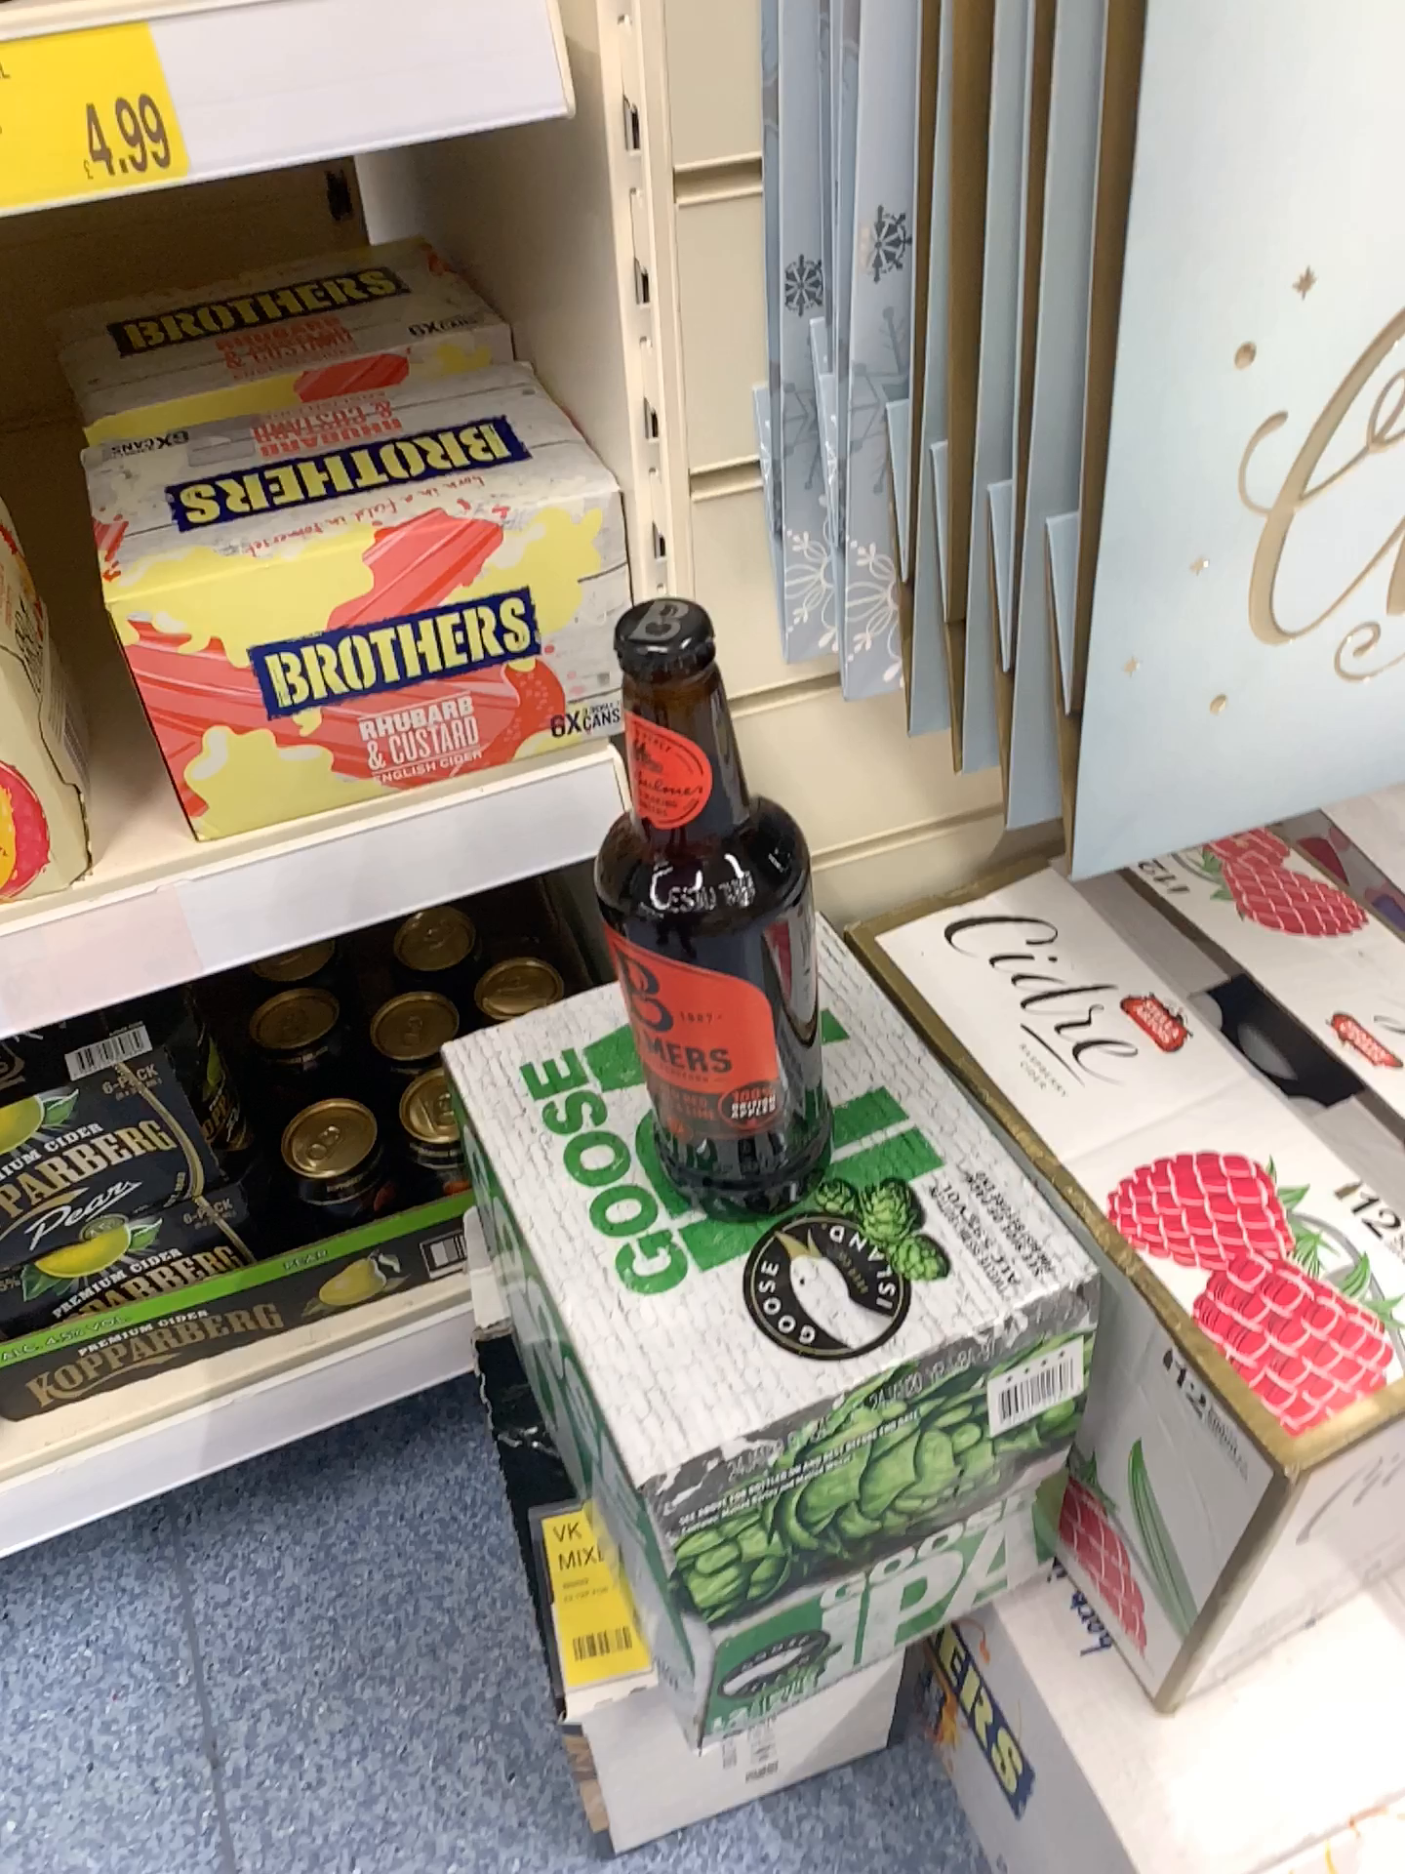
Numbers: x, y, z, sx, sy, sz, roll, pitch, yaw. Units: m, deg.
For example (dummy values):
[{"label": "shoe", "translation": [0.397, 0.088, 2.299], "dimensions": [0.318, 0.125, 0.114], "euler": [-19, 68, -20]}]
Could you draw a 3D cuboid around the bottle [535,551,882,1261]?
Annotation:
[{"label": "bottle", "translation": [0.011, 0.000, 0.484], "dimensions": [0.070, 0.234, 0.070], "euler": [-3, 43, 3]}]
